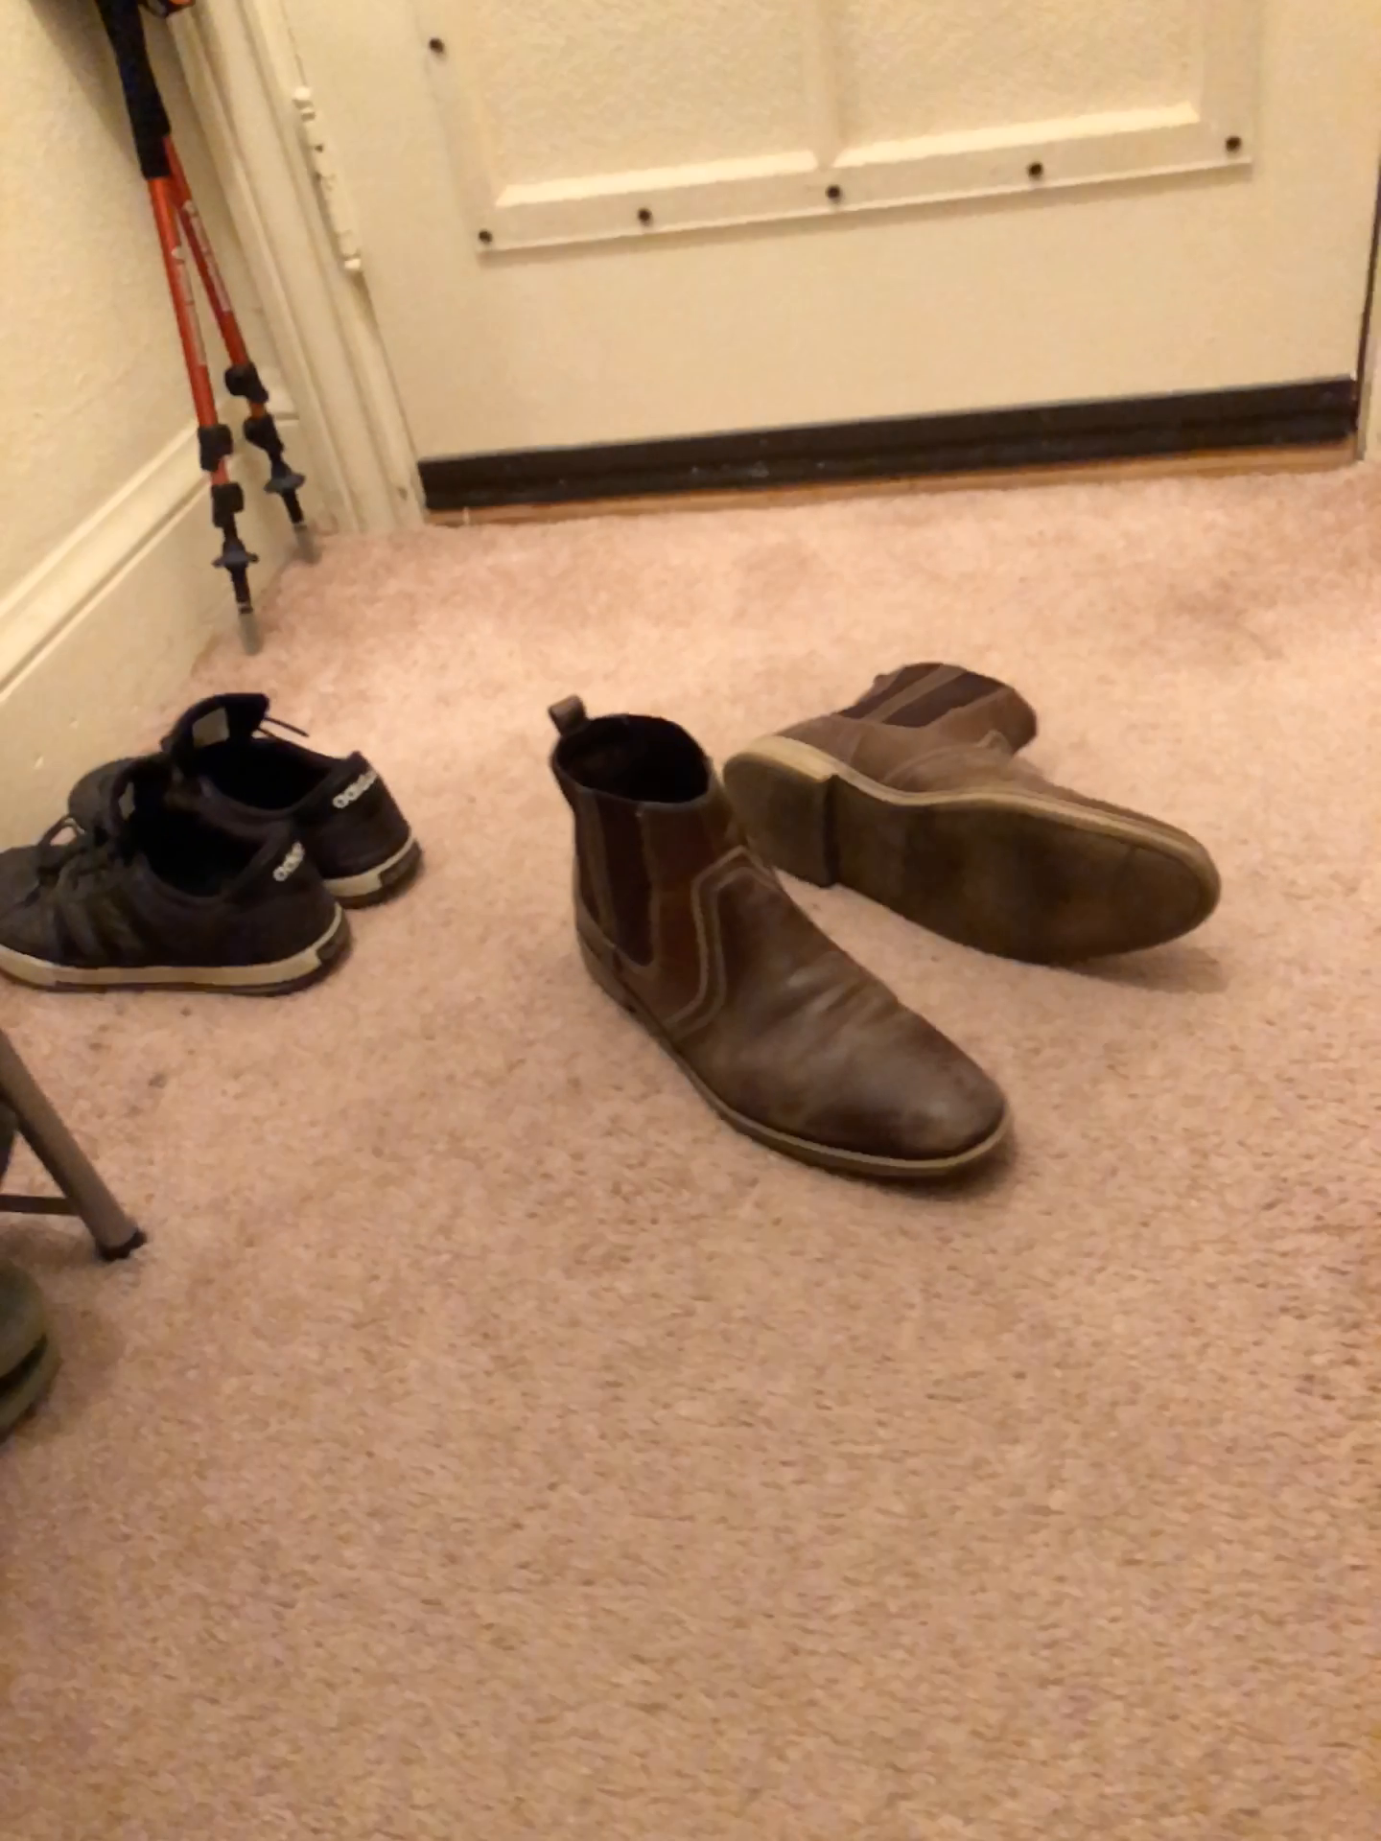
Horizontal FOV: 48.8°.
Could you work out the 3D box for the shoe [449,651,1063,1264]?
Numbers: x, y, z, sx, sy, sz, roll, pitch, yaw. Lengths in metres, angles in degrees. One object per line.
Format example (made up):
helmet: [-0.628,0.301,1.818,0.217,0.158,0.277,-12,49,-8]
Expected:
shoe: [0.030,0.005,0.789,0.115,0.175,0.309,-35,44,-26]

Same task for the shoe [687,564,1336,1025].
shoe: [0.186,-0.090,0.909,0.314,0.114,0.187,21,51,34]
